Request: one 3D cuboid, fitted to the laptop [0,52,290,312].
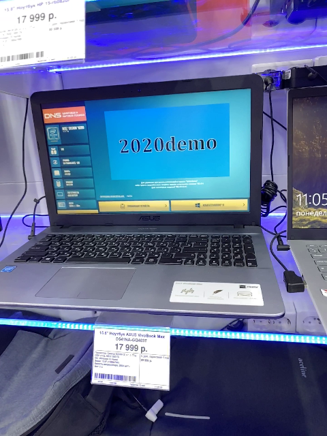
[{"bbox_3d":[-0.056,-0.058,0.451,0.372,0.232,0.263,-1,18,10],"label":"laptop"}]
